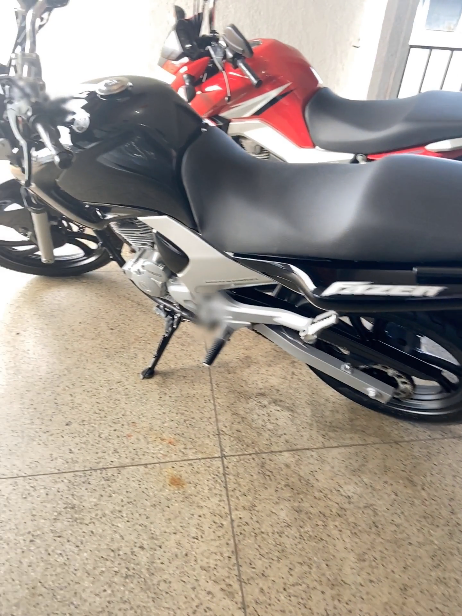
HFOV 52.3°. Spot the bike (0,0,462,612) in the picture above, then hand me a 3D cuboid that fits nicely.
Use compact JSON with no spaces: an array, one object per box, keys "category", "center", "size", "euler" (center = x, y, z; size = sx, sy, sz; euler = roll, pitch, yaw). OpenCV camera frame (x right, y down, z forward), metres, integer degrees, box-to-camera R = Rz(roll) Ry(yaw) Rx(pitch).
[{"category":"bike","center":[-0.062,-0.209,1.423],"size":[1.878,1.510,0.848],"euler":[14,37,10]}]
